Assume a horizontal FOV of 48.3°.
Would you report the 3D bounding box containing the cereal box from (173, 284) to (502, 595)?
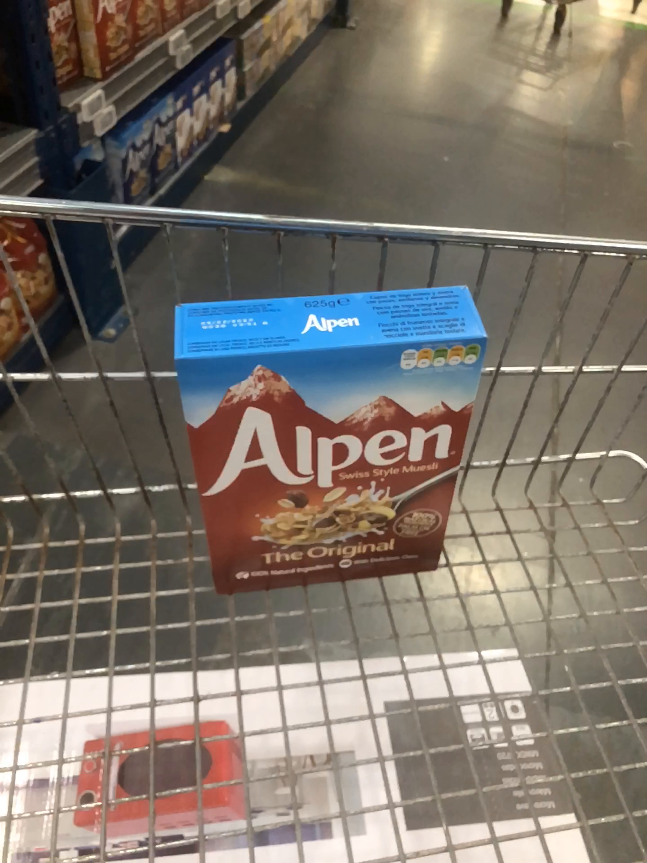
[{"bbox_3d":[0.002,0.015,0.489,0.180,0.219,0.060,-5,46,-8],"label":"cereal box"}]
